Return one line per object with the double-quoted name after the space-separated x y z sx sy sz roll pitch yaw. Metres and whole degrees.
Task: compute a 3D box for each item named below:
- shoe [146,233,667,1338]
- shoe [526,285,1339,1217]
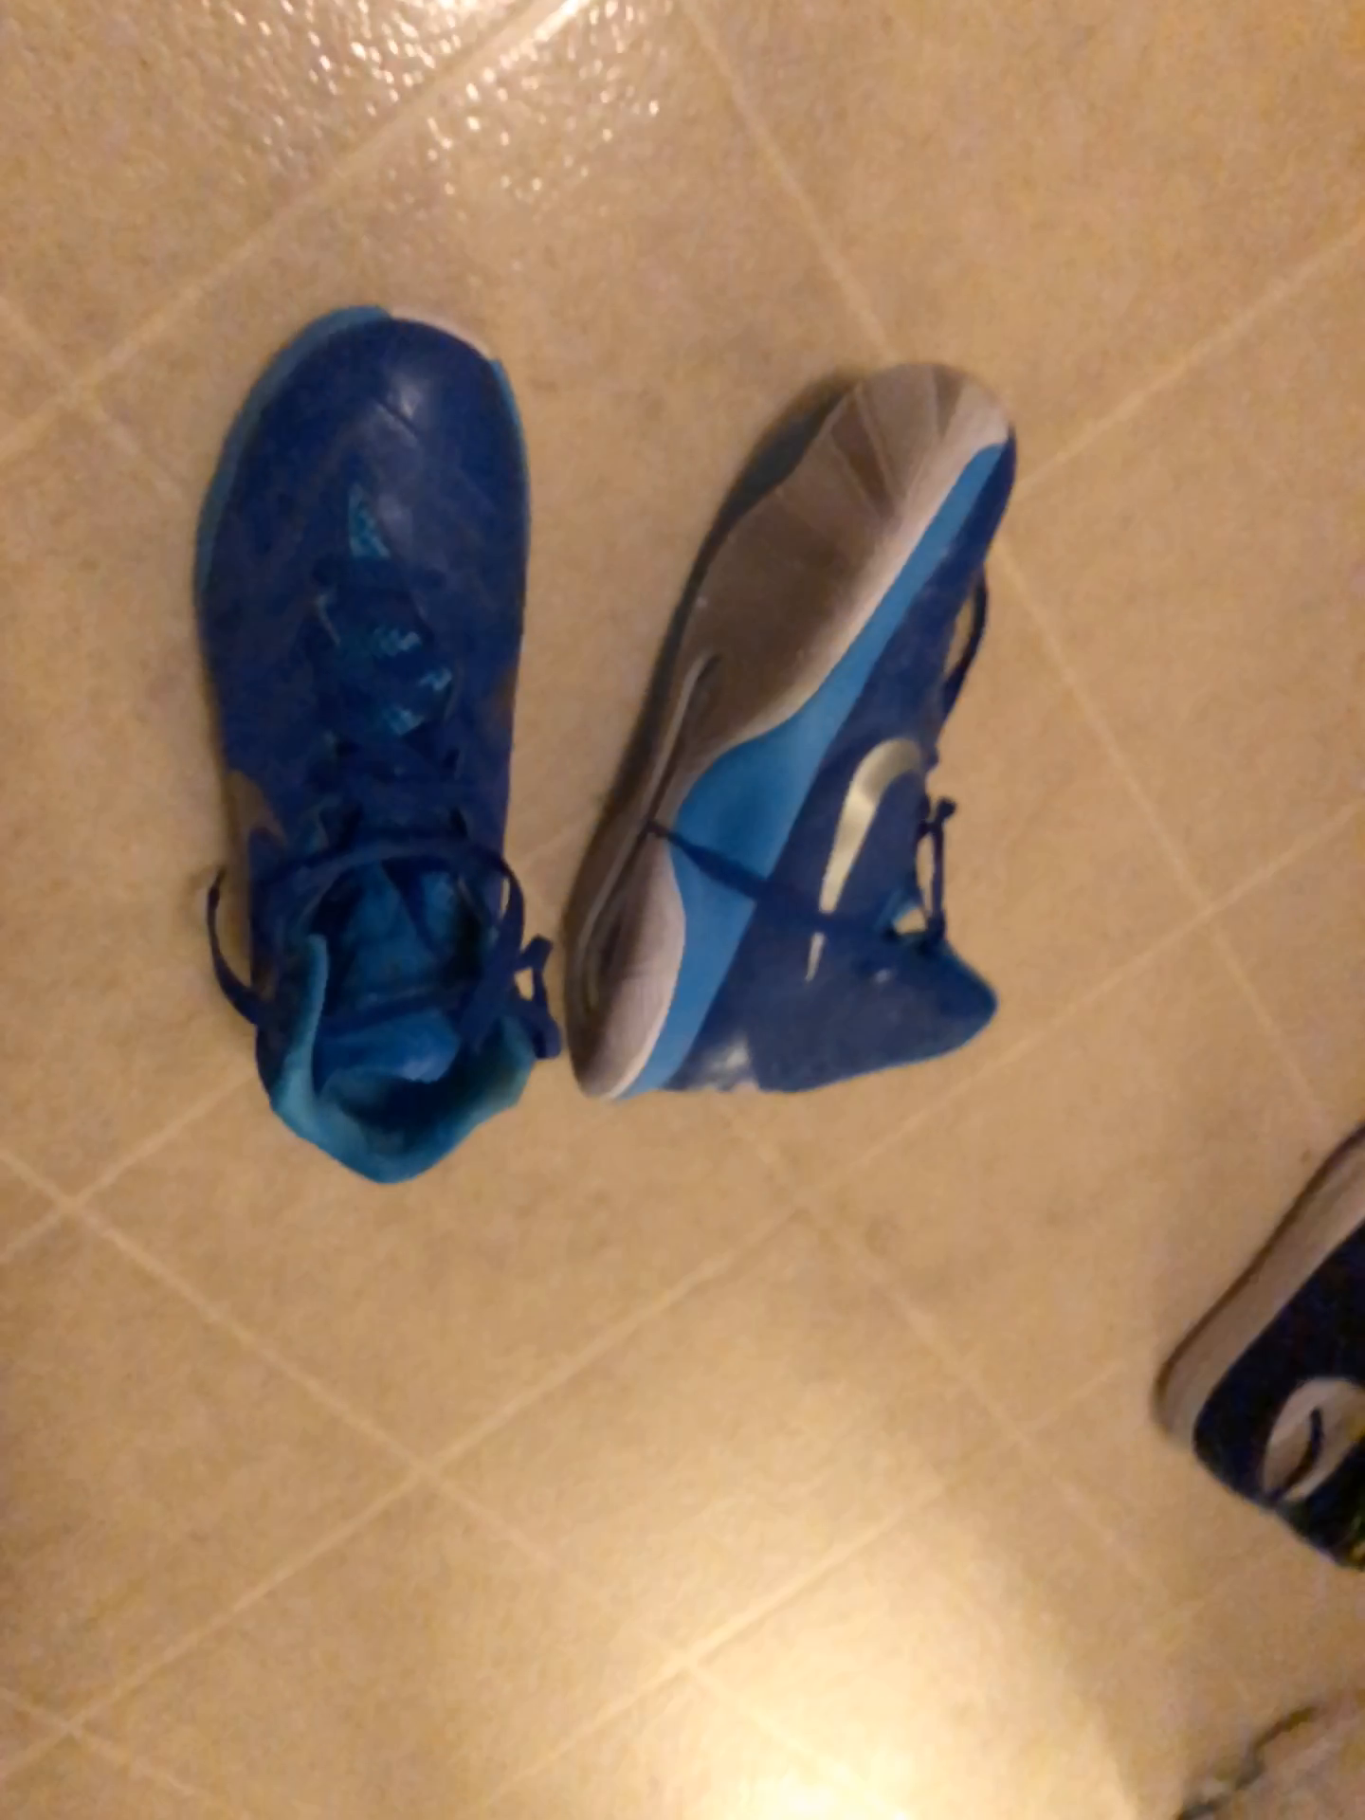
-0.092 -0.038 0.486 0.120 0.144 0.310 -2 118 -15 "shoe"
0.070 -0.044 0.536 0.159 0.120 0.281 7 115 -25 "shoe"
